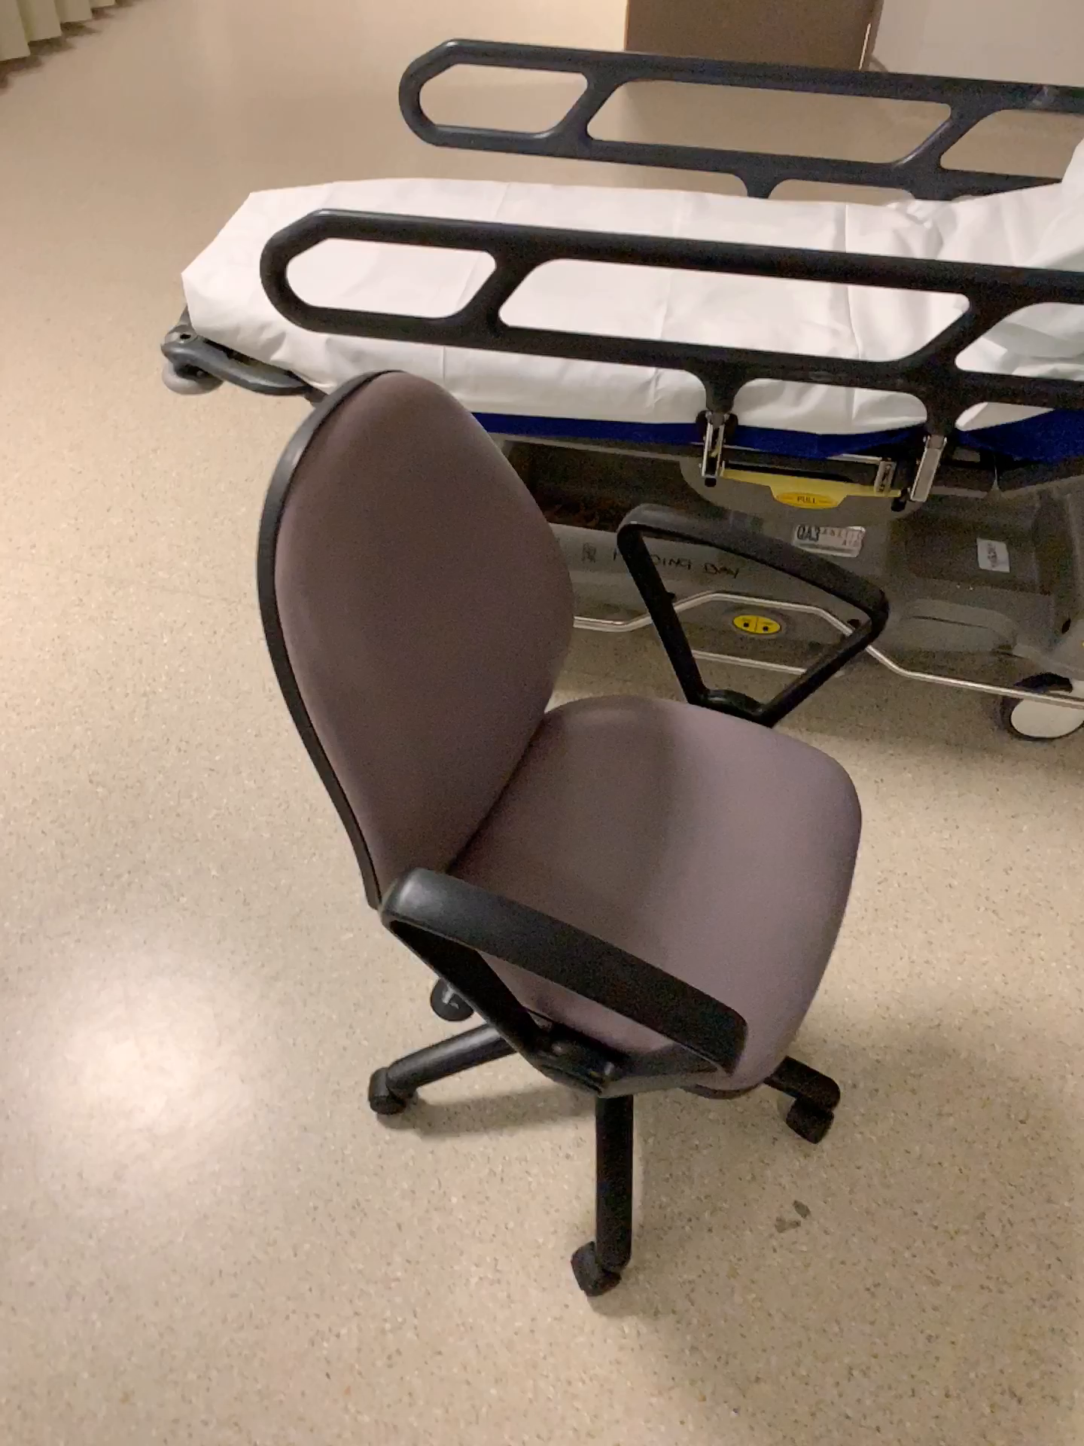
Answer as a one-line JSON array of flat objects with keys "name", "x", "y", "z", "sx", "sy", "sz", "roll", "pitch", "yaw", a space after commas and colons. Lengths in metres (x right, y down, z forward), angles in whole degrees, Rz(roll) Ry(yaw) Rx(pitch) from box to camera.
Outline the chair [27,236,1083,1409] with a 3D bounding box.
[{"name": "chair", "x": 0.096, "y": 0.121, "z": 1.186, "sx": 0.711, "sy": 0.882, "sz": 0.655, "roll": 21, "pitch": 51, "yaw": 16}]
